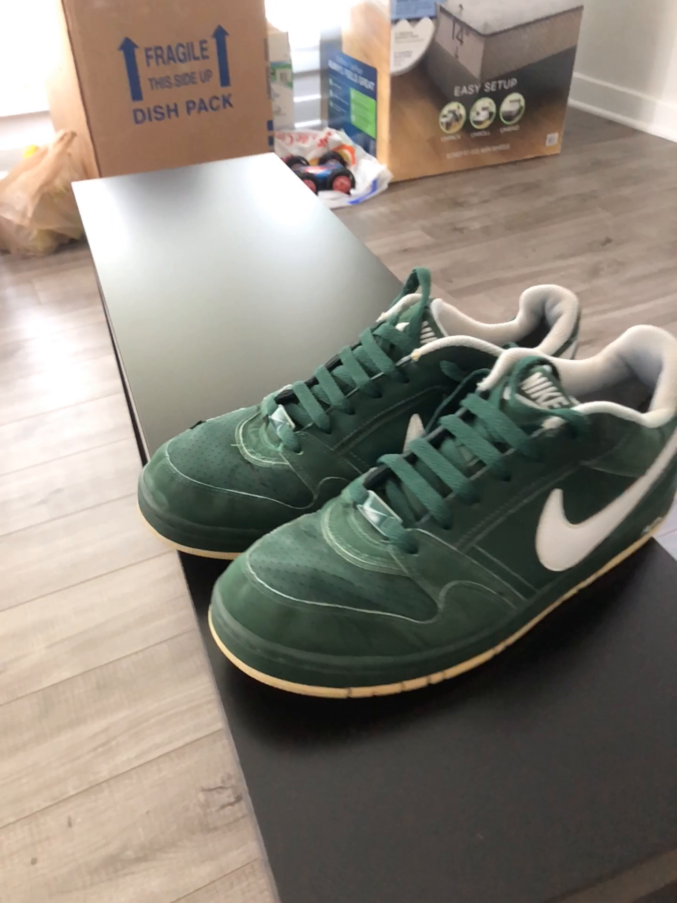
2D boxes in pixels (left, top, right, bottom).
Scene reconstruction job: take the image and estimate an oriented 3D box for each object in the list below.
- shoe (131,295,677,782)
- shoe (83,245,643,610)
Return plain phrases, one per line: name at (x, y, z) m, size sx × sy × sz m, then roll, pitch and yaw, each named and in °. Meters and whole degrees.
shoe at (0.061, 0.028, 0.362) m, size 0.280 × 0.100 × 0.110 m, roll -19°, pitch 42°, yaw -15°
shoe at (0.016, -0.024, 0.441) m, size 0.292 × 0.100 × 0.100 m, roll -17°, pitch 41°, yaw -13°
